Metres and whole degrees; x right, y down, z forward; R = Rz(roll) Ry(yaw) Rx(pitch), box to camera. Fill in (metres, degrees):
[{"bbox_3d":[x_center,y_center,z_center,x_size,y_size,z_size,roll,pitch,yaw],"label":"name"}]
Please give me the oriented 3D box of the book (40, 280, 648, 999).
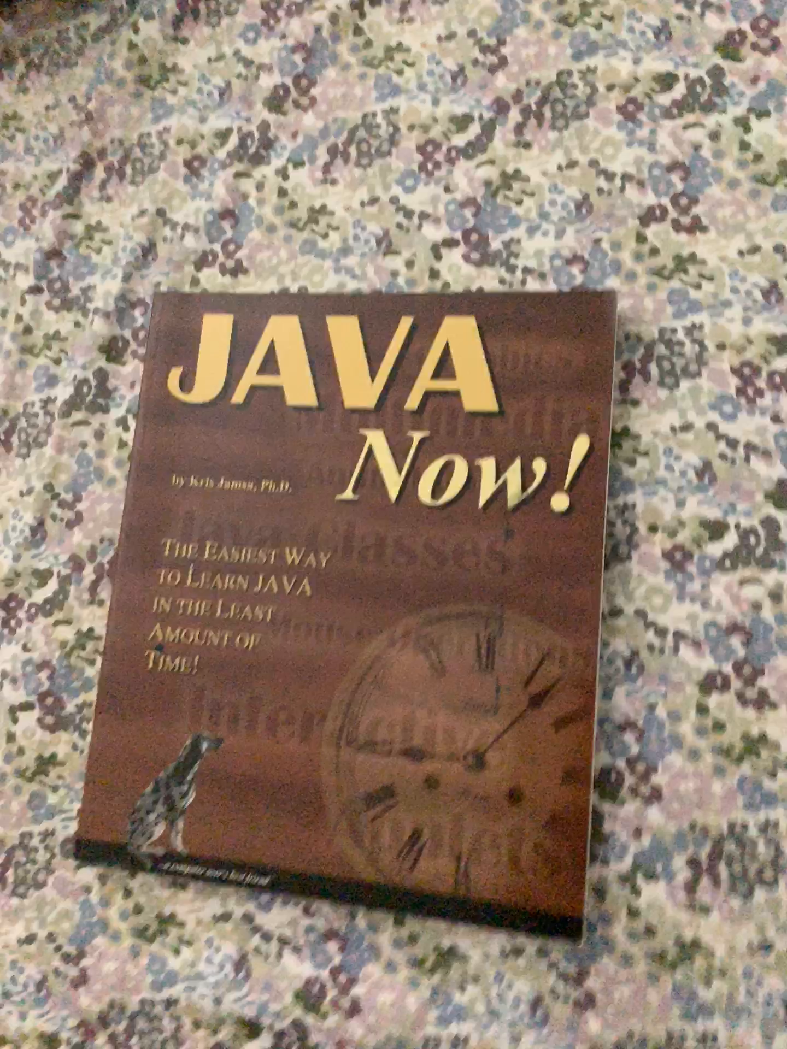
[{"bbox_3d":[-0.018,0.030,0.331,0.220,0.030,0.260,4,82,11],"label":"book"}]
